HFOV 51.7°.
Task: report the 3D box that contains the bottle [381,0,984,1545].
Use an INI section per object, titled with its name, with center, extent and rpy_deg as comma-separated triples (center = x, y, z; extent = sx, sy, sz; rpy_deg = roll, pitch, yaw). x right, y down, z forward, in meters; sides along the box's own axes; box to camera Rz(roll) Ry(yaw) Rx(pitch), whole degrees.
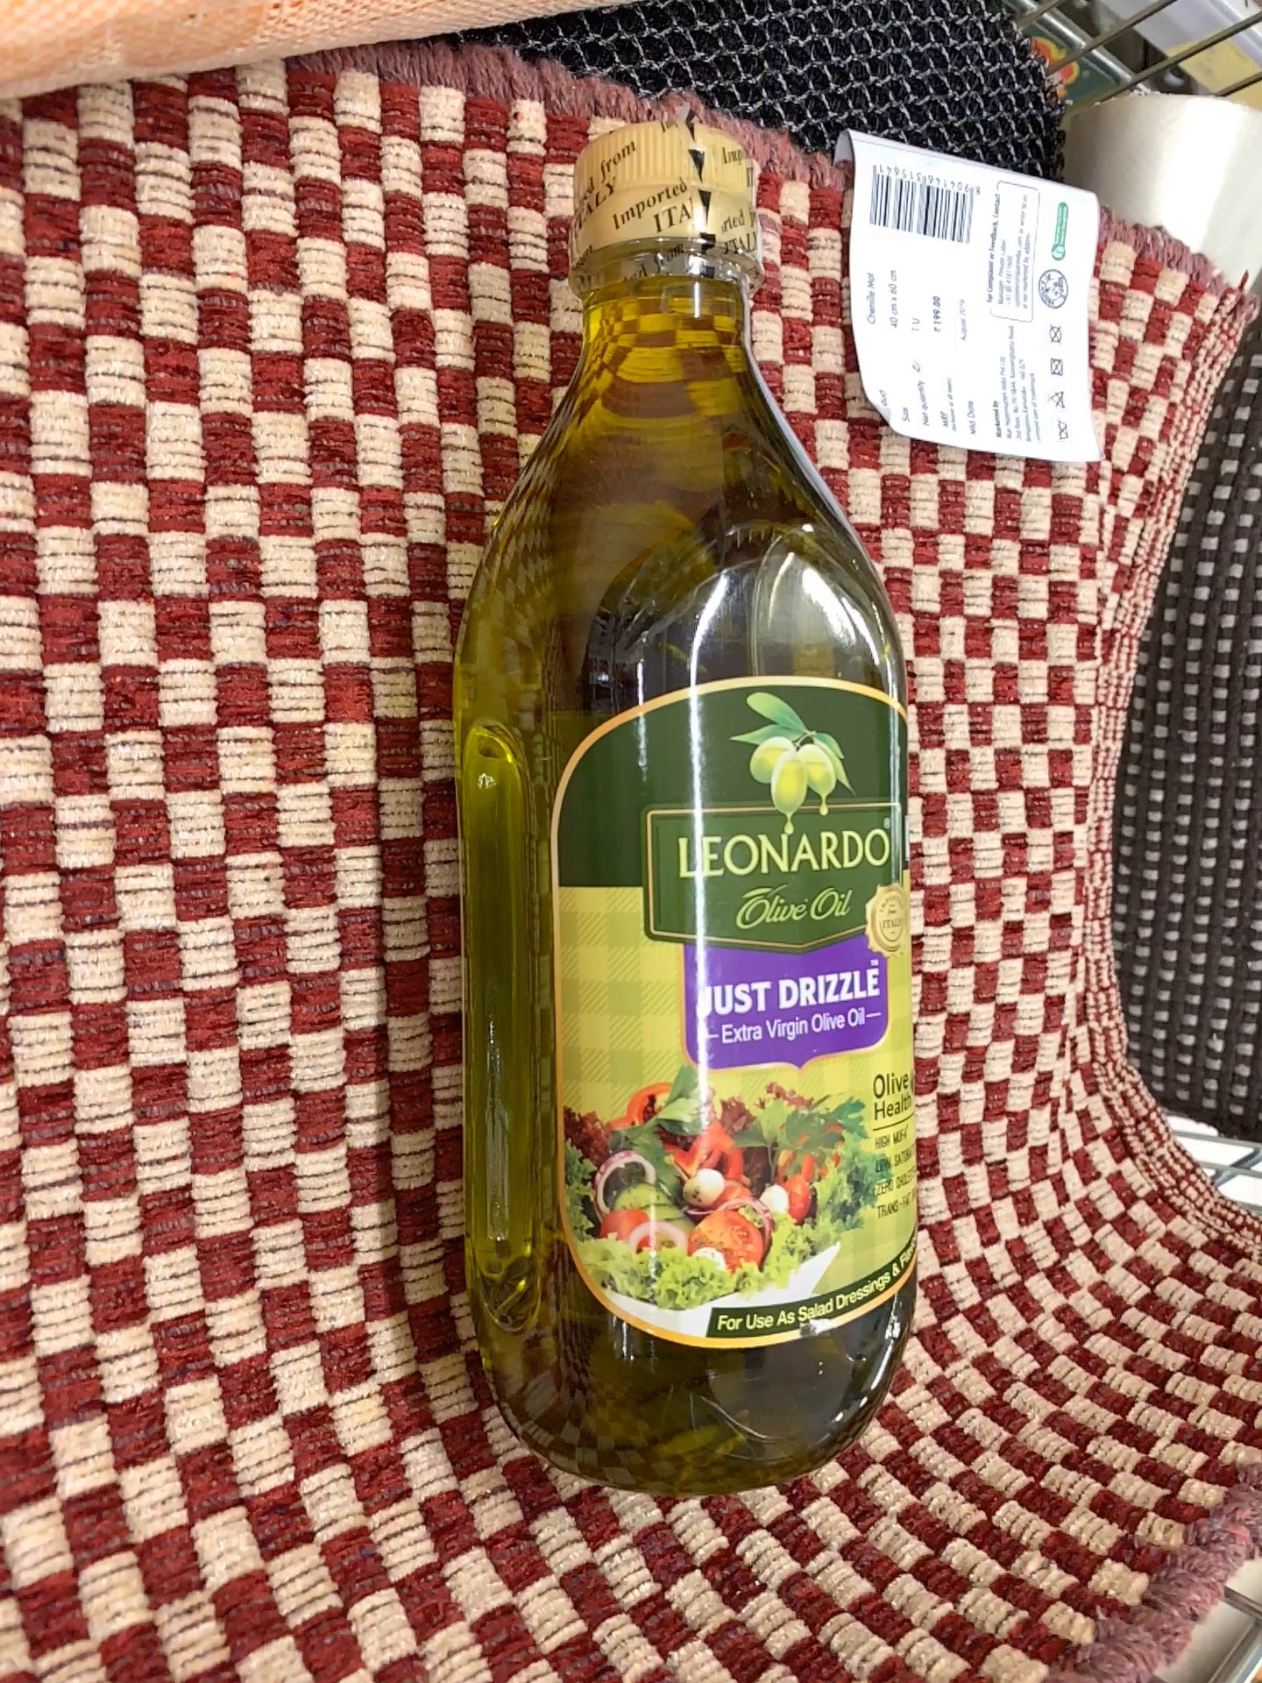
[bottle]
center = 0.010, -0.021, 0.235
extent = 0.080, 0.070, 0.240
rpy_deg = -2, 91, -41
